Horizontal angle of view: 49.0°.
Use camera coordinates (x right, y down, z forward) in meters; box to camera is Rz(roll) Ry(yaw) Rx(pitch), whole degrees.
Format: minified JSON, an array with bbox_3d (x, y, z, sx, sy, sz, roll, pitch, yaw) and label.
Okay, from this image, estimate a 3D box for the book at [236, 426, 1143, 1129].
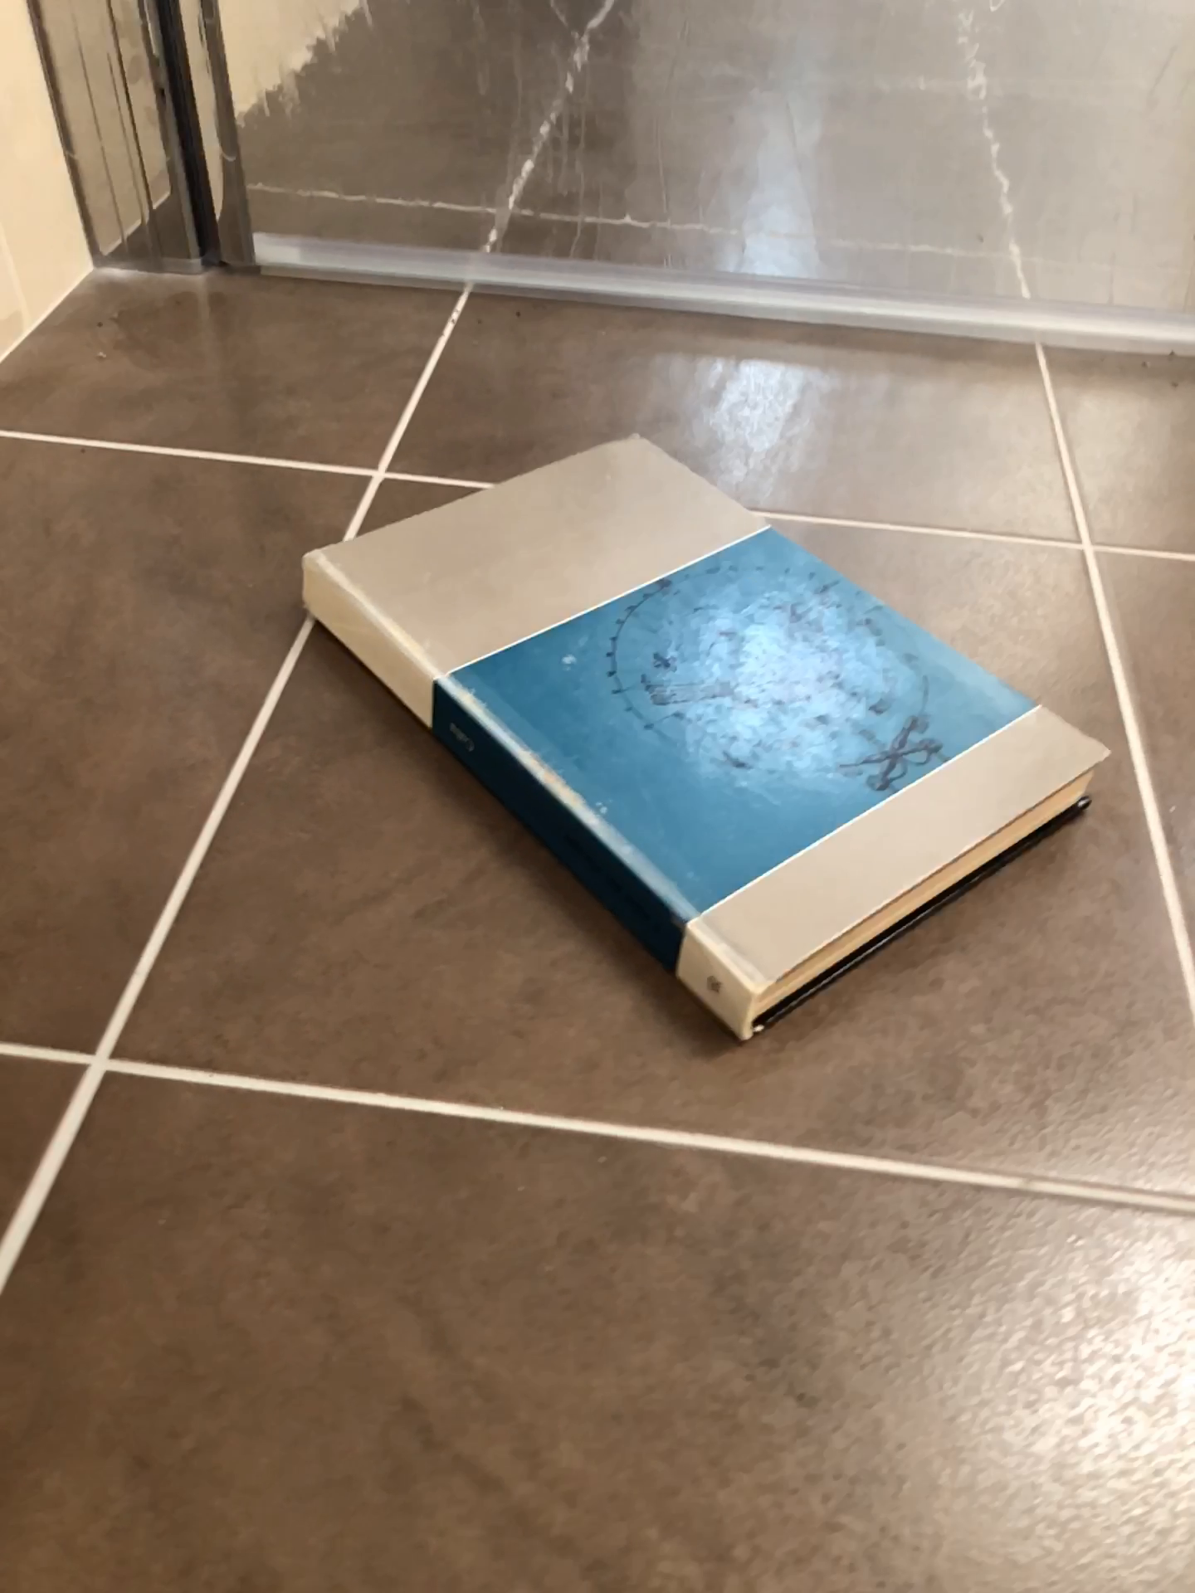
[{"bbox_3d":[0.023,-0.039,0.525,0.211,0.040,0.300,-27,52,-27],"label":"book"}]
